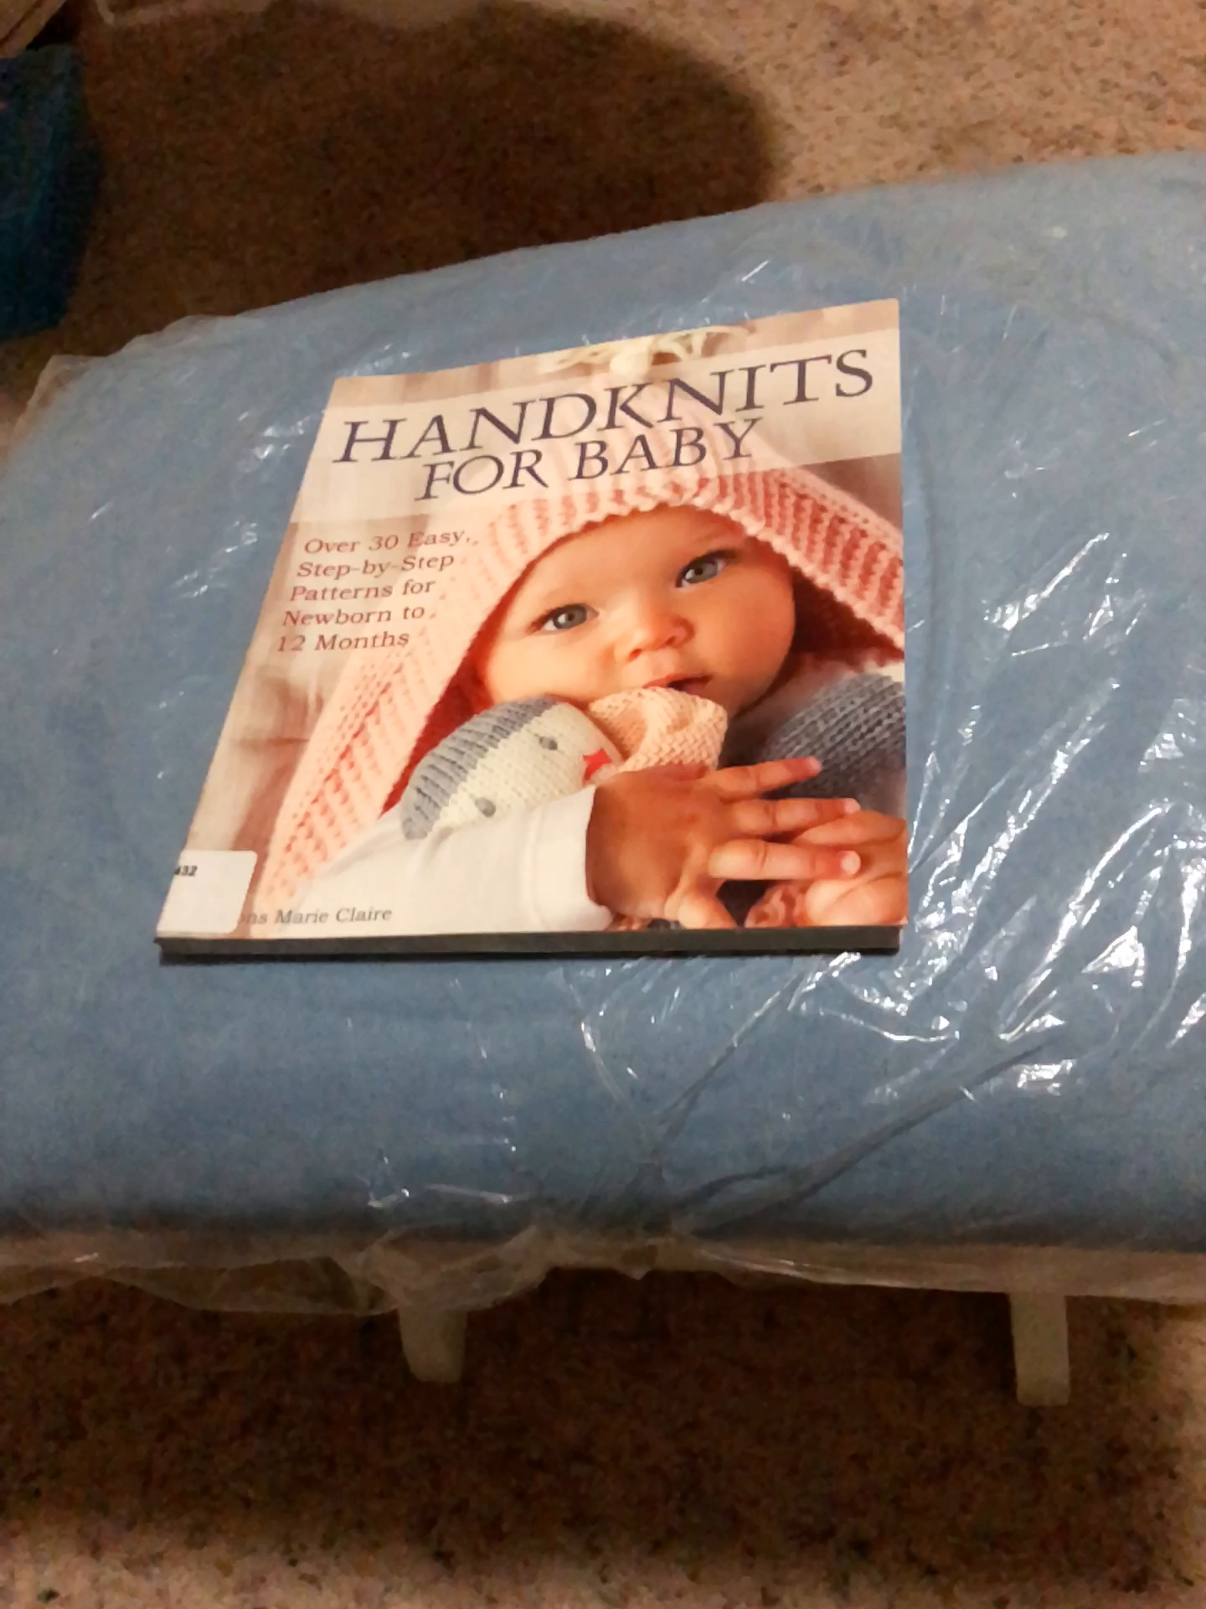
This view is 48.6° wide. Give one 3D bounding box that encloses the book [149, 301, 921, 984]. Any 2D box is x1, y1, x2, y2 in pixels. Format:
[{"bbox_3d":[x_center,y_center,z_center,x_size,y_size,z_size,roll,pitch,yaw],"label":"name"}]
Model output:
[{"bbox_3d":[-0.011,-0.053,0.390,0.197,0.020,0.220,-3,57,16],"label":"book"}]
